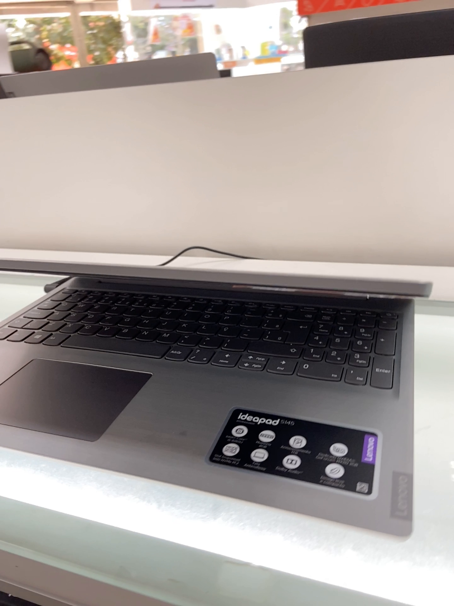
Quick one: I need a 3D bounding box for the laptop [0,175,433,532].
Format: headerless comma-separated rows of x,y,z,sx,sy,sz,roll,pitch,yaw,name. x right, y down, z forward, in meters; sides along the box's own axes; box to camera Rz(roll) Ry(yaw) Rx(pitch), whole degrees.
-0.051,-0.012,0.342,0.353,0.104,0.240,4,27,20,laptop
